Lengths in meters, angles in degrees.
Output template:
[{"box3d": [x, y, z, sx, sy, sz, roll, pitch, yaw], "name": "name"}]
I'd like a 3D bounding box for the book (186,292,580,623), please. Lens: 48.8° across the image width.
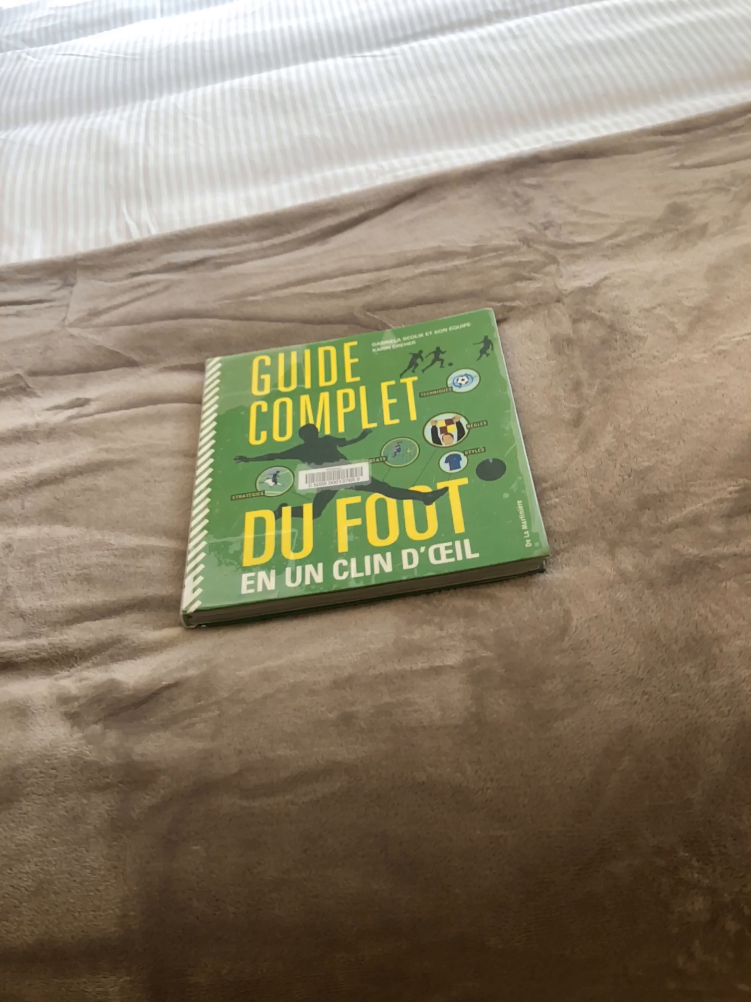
[{"box3d": [-0.004, -0.041, 0.555, 0.227, 0.018, 0.239, -8, 51, 4], "name": "book"}]
